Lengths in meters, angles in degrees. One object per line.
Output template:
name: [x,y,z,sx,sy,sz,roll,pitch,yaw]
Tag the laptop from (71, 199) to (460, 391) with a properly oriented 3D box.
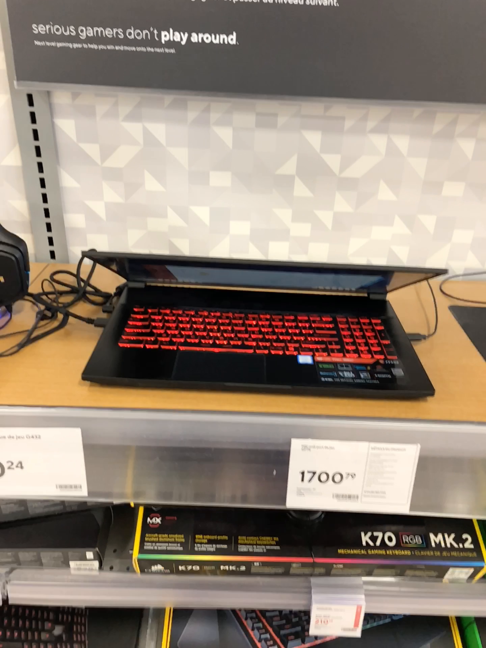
laptop: [0.023,-0.050,0.678,0.393,0.133,0.249,2,29,-1]
